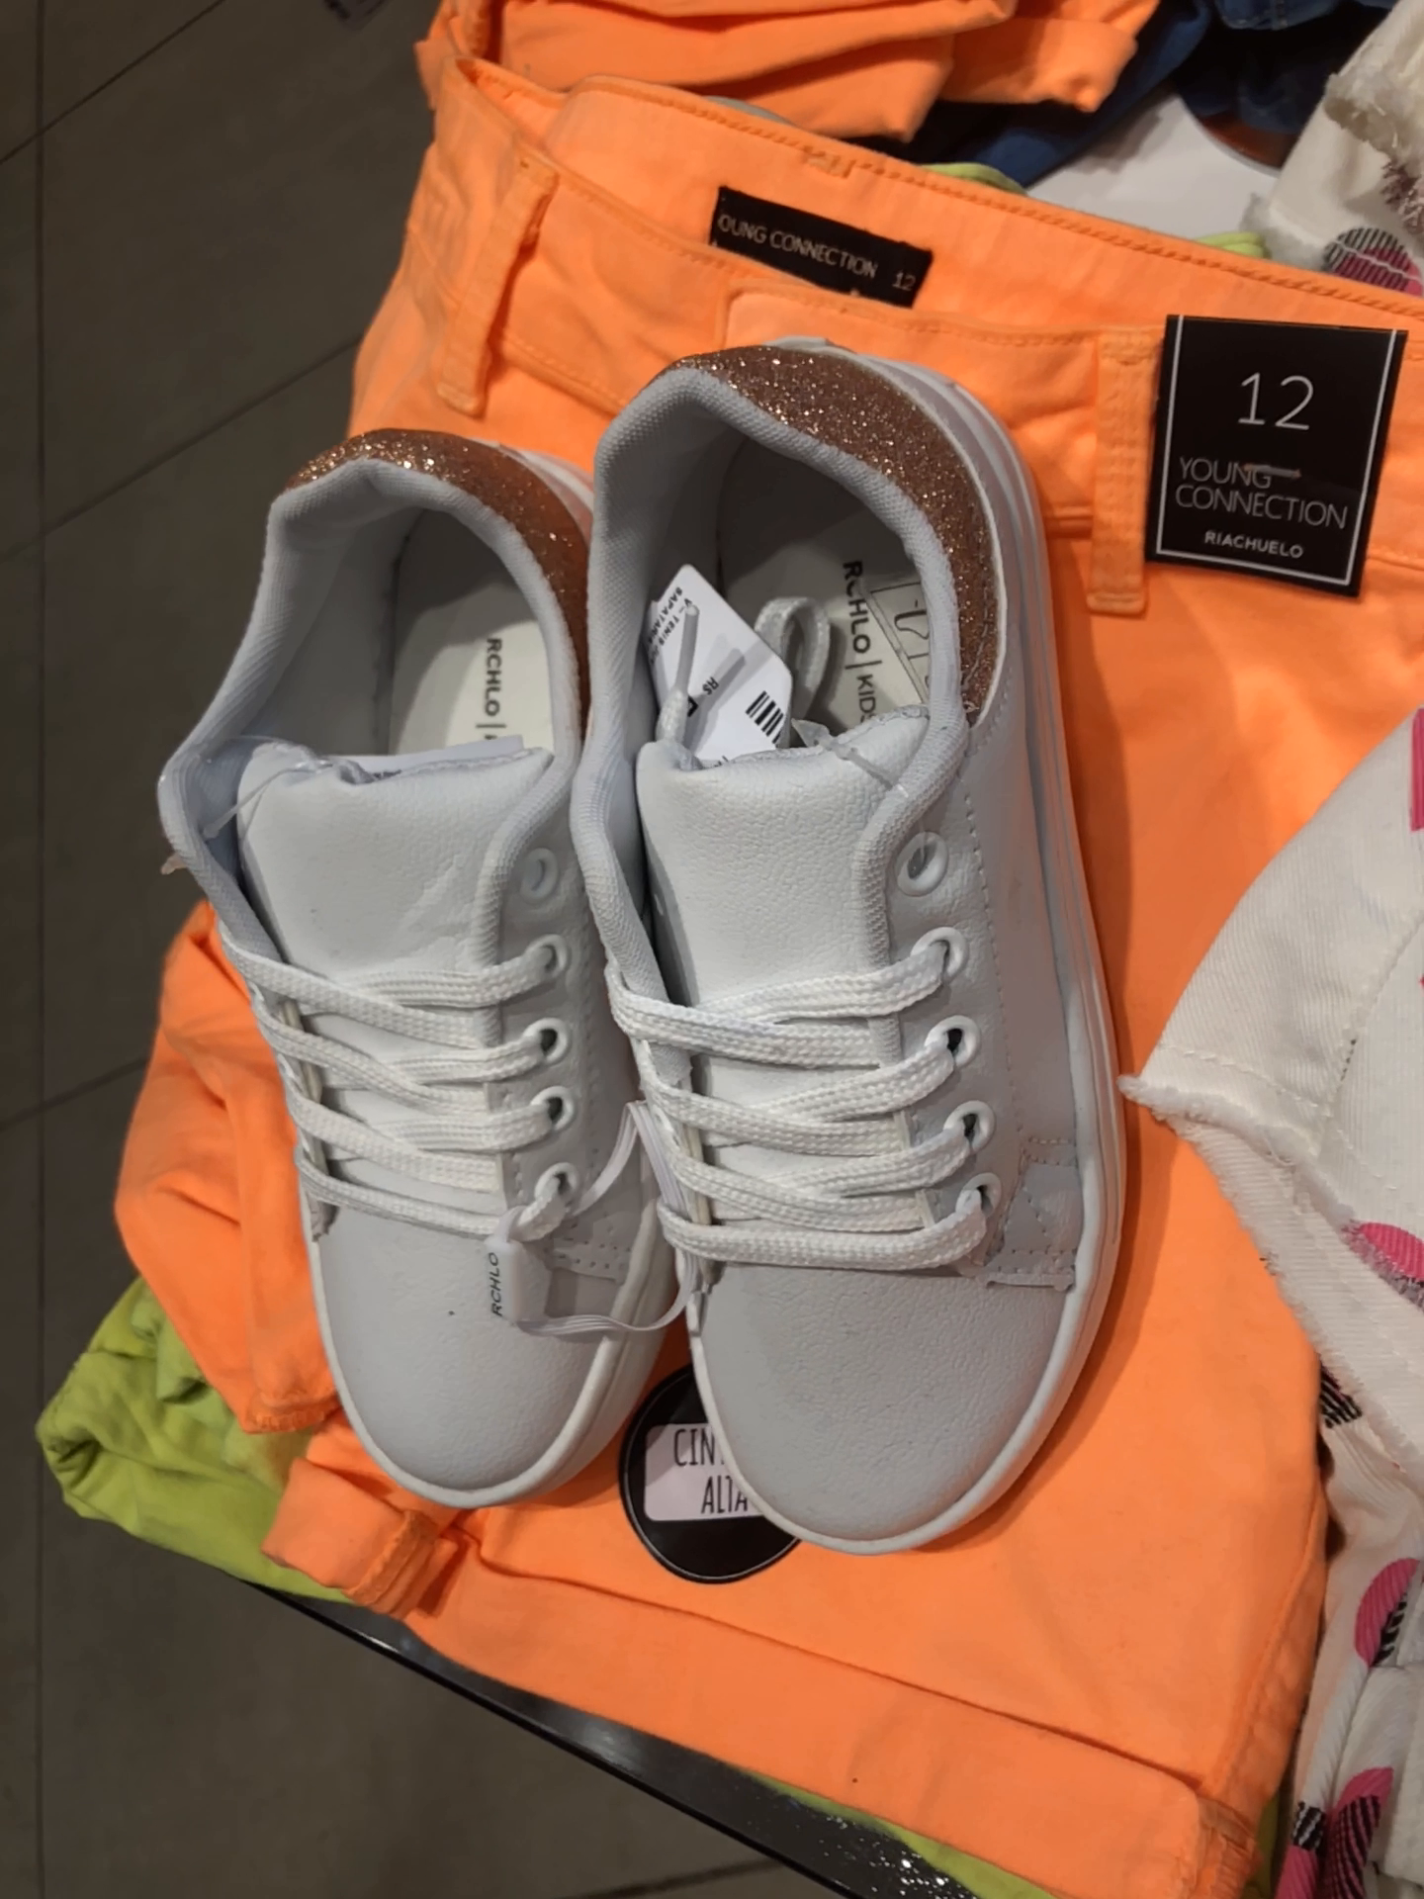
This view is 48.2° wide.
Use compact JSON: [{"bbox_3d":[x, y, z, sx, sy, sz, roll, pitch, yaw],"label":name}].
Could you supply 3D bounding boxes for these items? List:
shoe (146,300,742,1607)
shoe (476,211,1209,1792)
[{"bbox_3d":[-0.044,0.001,0.298,0.080,0.070,0.210,0,96,14],"label":"shoe"},{"bbox_3d":[0.026,0.008,0.259,0.080,0.070,0.210,-3,95,28],"label":"shoe"}]
